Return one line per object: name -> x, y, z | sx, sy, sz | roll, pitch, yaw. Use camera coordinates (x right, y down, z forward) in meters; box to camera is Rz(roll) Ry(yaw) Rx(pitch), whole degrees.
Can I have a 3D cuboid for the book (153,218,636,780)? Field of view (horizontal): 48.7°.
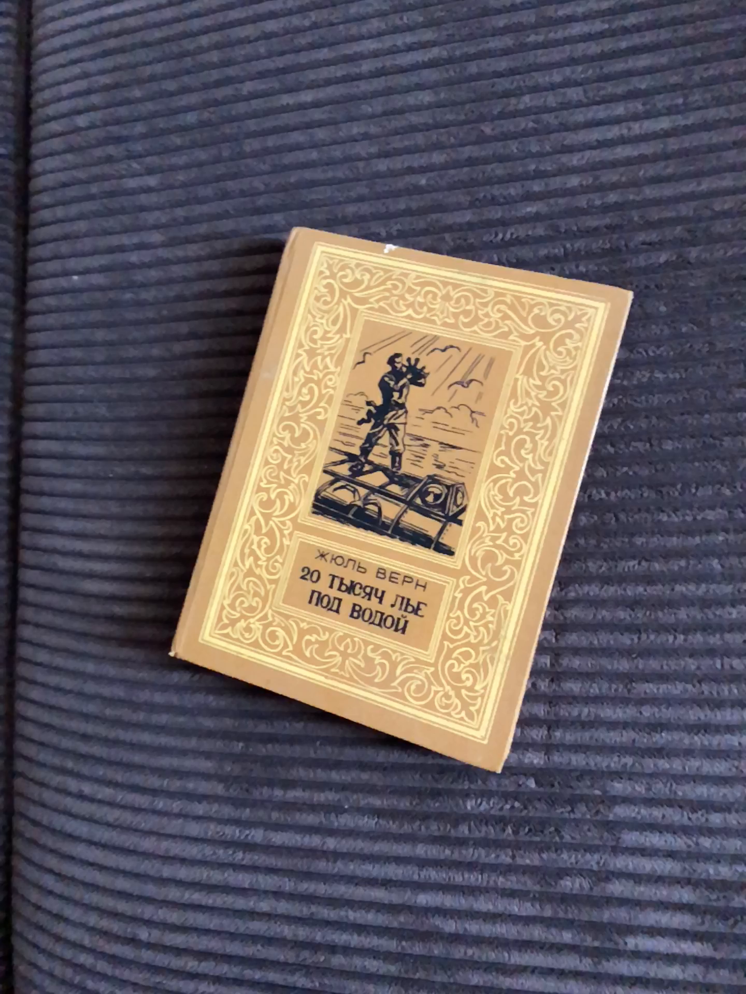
book -> 0.008, -0.006, 0.386 | 0.170, 0.029, 0.219 | 15, 88, 15
